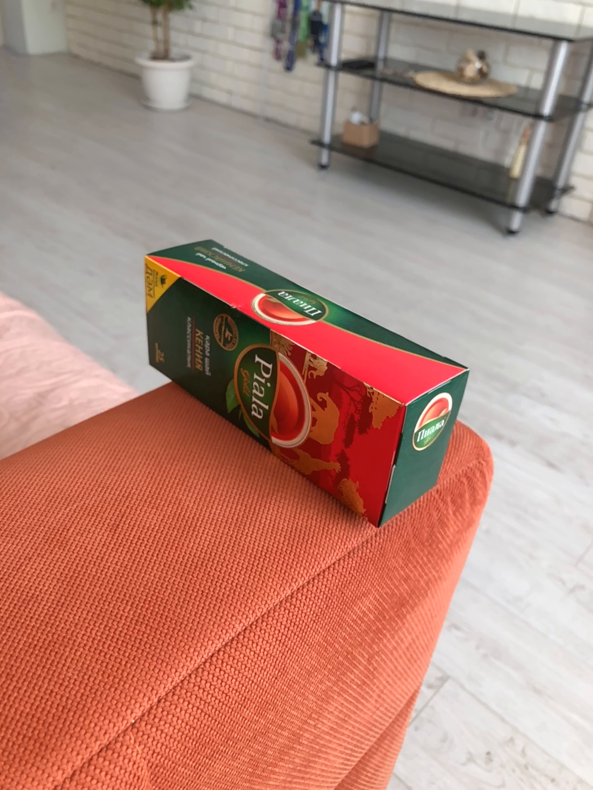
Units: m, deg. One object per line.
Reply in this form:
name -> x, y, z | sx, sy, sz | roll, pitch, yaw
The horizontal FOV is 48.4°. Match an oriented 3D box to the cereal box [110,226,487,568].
cereal box -> -0.011, -0.010, 0.294 | 0.170, 0.069, 0.050 | 32, 43, 33
